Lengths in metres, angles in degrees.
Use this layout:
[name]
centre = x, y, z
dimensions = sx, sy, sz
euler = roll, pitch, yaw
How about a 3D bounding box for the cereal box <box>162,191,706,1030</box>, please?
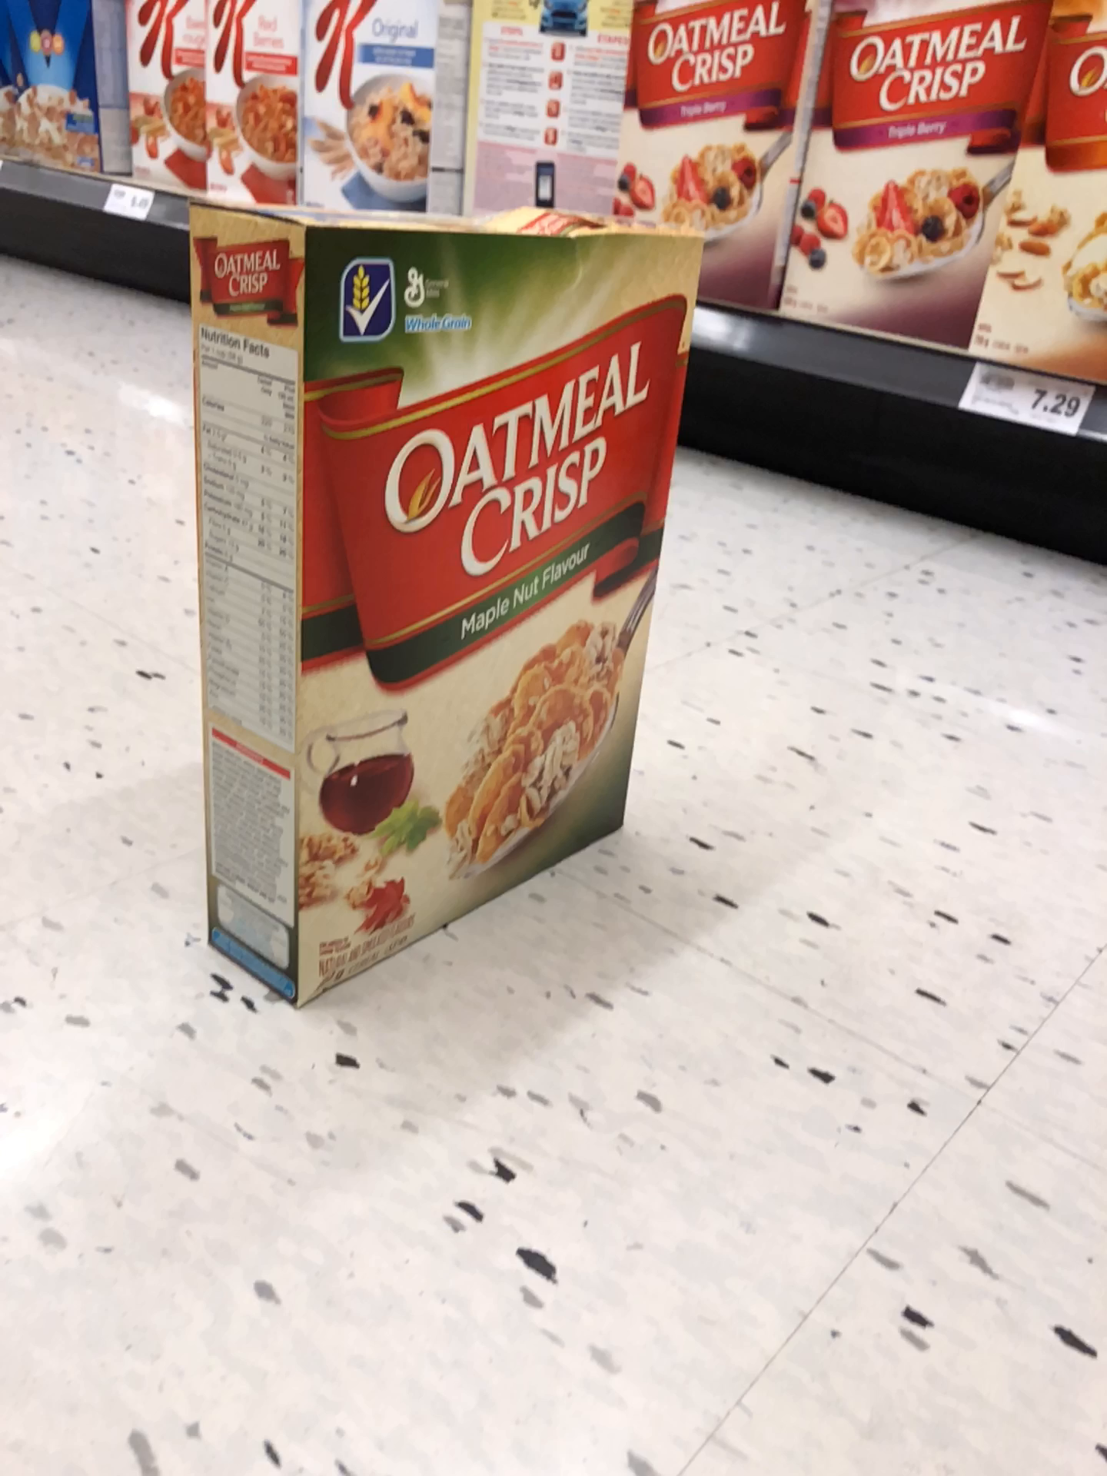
[cereal box]
centre = -0.039, -0.053, 0.450
dimensions = 0.050, 0.258, 0.201
euler = 24, 30, 32
